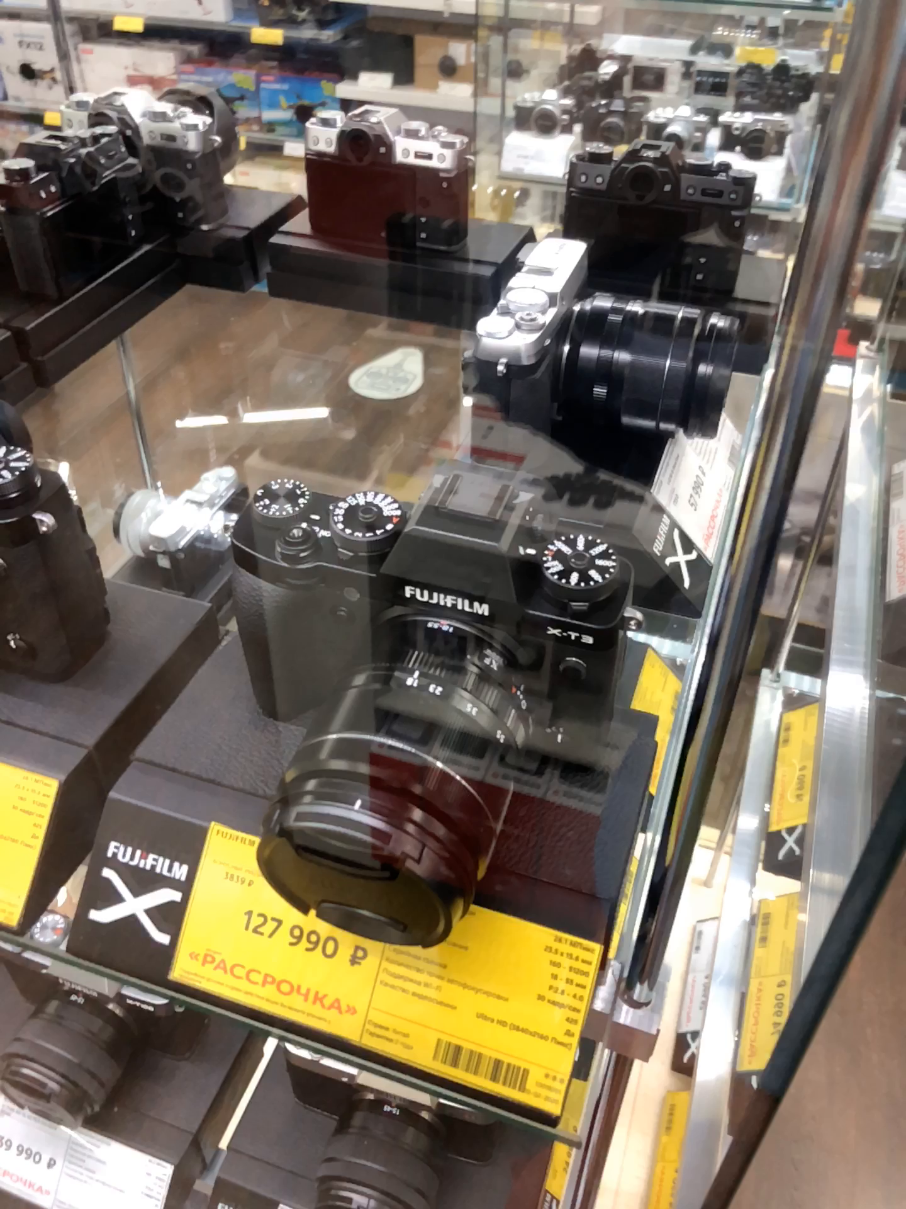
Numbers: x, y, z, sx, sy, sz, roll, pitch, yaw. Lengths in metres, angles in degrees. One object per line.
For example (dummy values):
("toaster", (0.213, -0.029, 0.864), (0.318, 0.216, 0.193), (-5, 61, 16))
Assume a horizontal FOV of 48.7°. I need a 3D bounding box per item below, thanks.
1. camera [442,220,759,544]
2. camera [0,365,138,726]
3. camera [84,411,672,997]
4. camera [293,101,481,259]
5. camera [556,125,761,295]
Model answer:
("camera", (0.071, -0.112, 0.479), (0.115, 0.088, 0.126), (14, 42, 15))
("camera", (-0.197, -0.024, 0.369), (0.125, 0.088, 0.066), (13, 41, 14))
("camera", (-0.012, 0.023, 0.308), (0.129, 0.099, 0.120), (12, 41, 13))
("camera", (-0.043, -0.288, 0.676), (0.109, 0.074, 0.056), (15, 42, 16))
("camera", (0.129, -0.252, 0.637), (0.109, 0.074, 0.056), (15, 42, 16))
